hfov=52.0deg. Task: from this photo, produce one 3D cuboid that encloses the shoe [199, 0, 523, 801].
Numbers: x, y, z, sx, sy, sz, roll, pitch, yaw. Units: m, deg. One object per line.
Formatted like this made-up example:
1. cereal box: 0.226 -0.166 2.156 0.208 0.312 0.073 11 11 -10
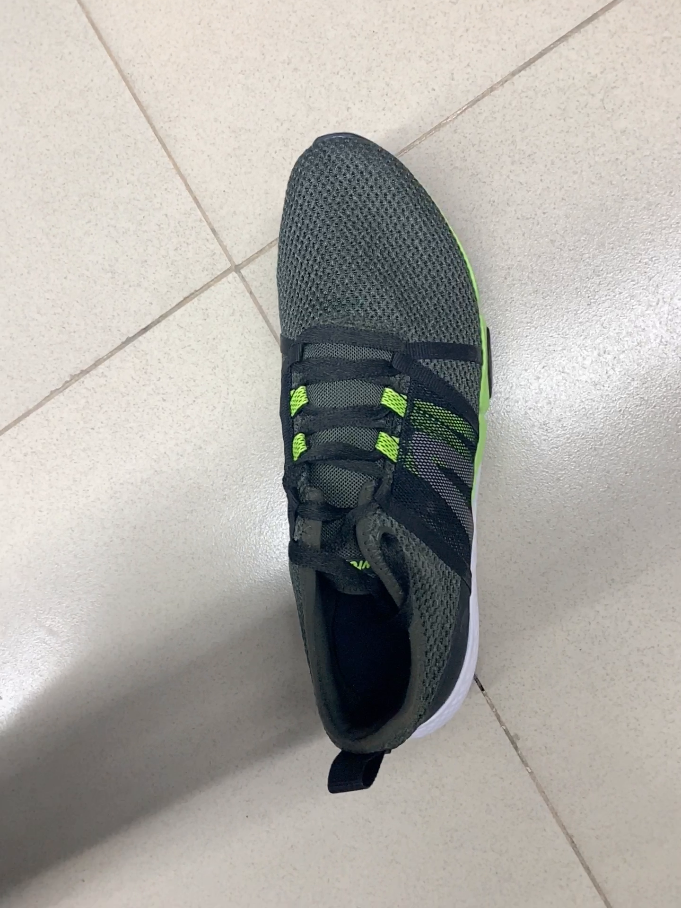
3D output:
1. shoe: 0.018 -0.016 0.323 0.110 0.100 0.300 -4 91 14
